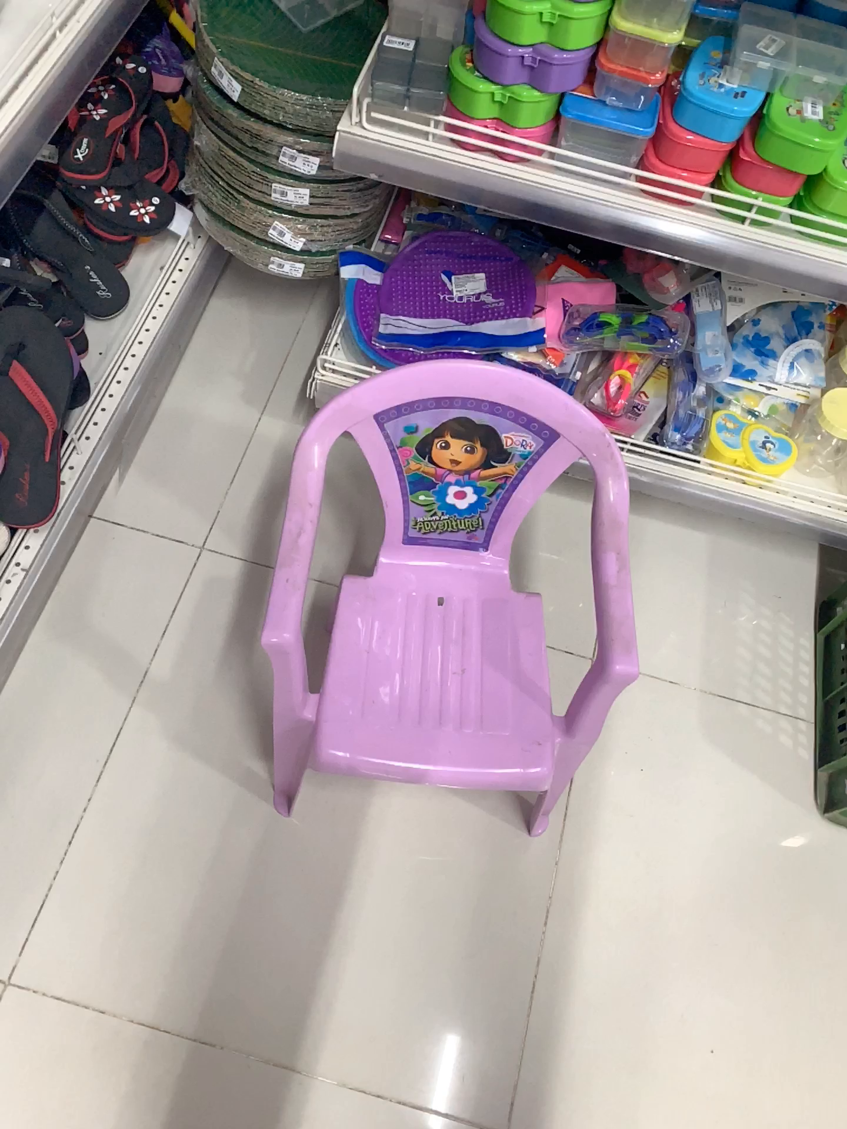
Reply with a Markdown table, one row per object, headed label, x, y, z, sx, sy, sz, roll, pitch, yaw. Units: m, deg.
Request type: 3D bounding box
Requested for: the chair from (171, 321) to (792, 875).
| label | x | y | z | sx | sy | sz | roll | pitch | yaw |
| --- | --- | --- | --- | --- | --- | --- | --- | --- | --- |
| chair | 0.033 | 0.071 | 0.820 | 0.400 | 0.430 | 0.340 | 6 | 63 | -3 |
